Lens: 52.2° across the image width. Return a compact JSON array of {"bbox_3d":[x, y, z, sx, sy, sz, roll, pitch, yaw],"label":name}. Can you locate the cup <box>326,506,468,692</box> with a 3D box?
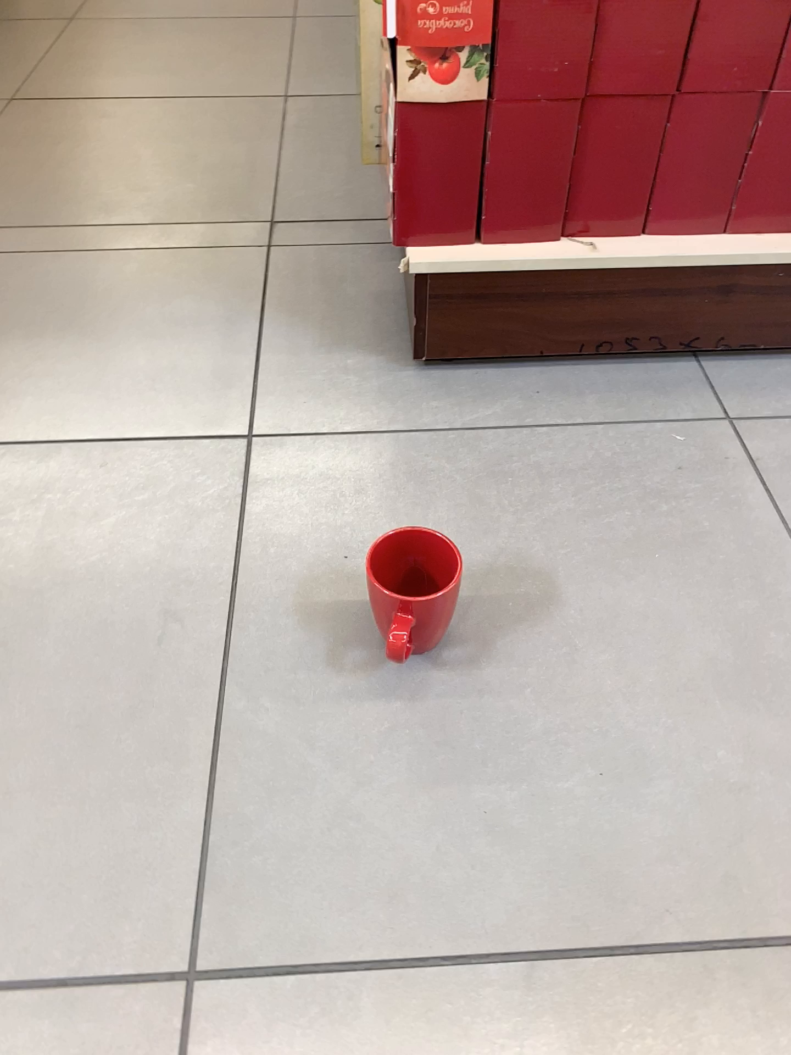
[{"bbox_3d":[0.004,0.062,0.727,0.090,0.090,0.120,13,47,12],"label":"cup"}]
